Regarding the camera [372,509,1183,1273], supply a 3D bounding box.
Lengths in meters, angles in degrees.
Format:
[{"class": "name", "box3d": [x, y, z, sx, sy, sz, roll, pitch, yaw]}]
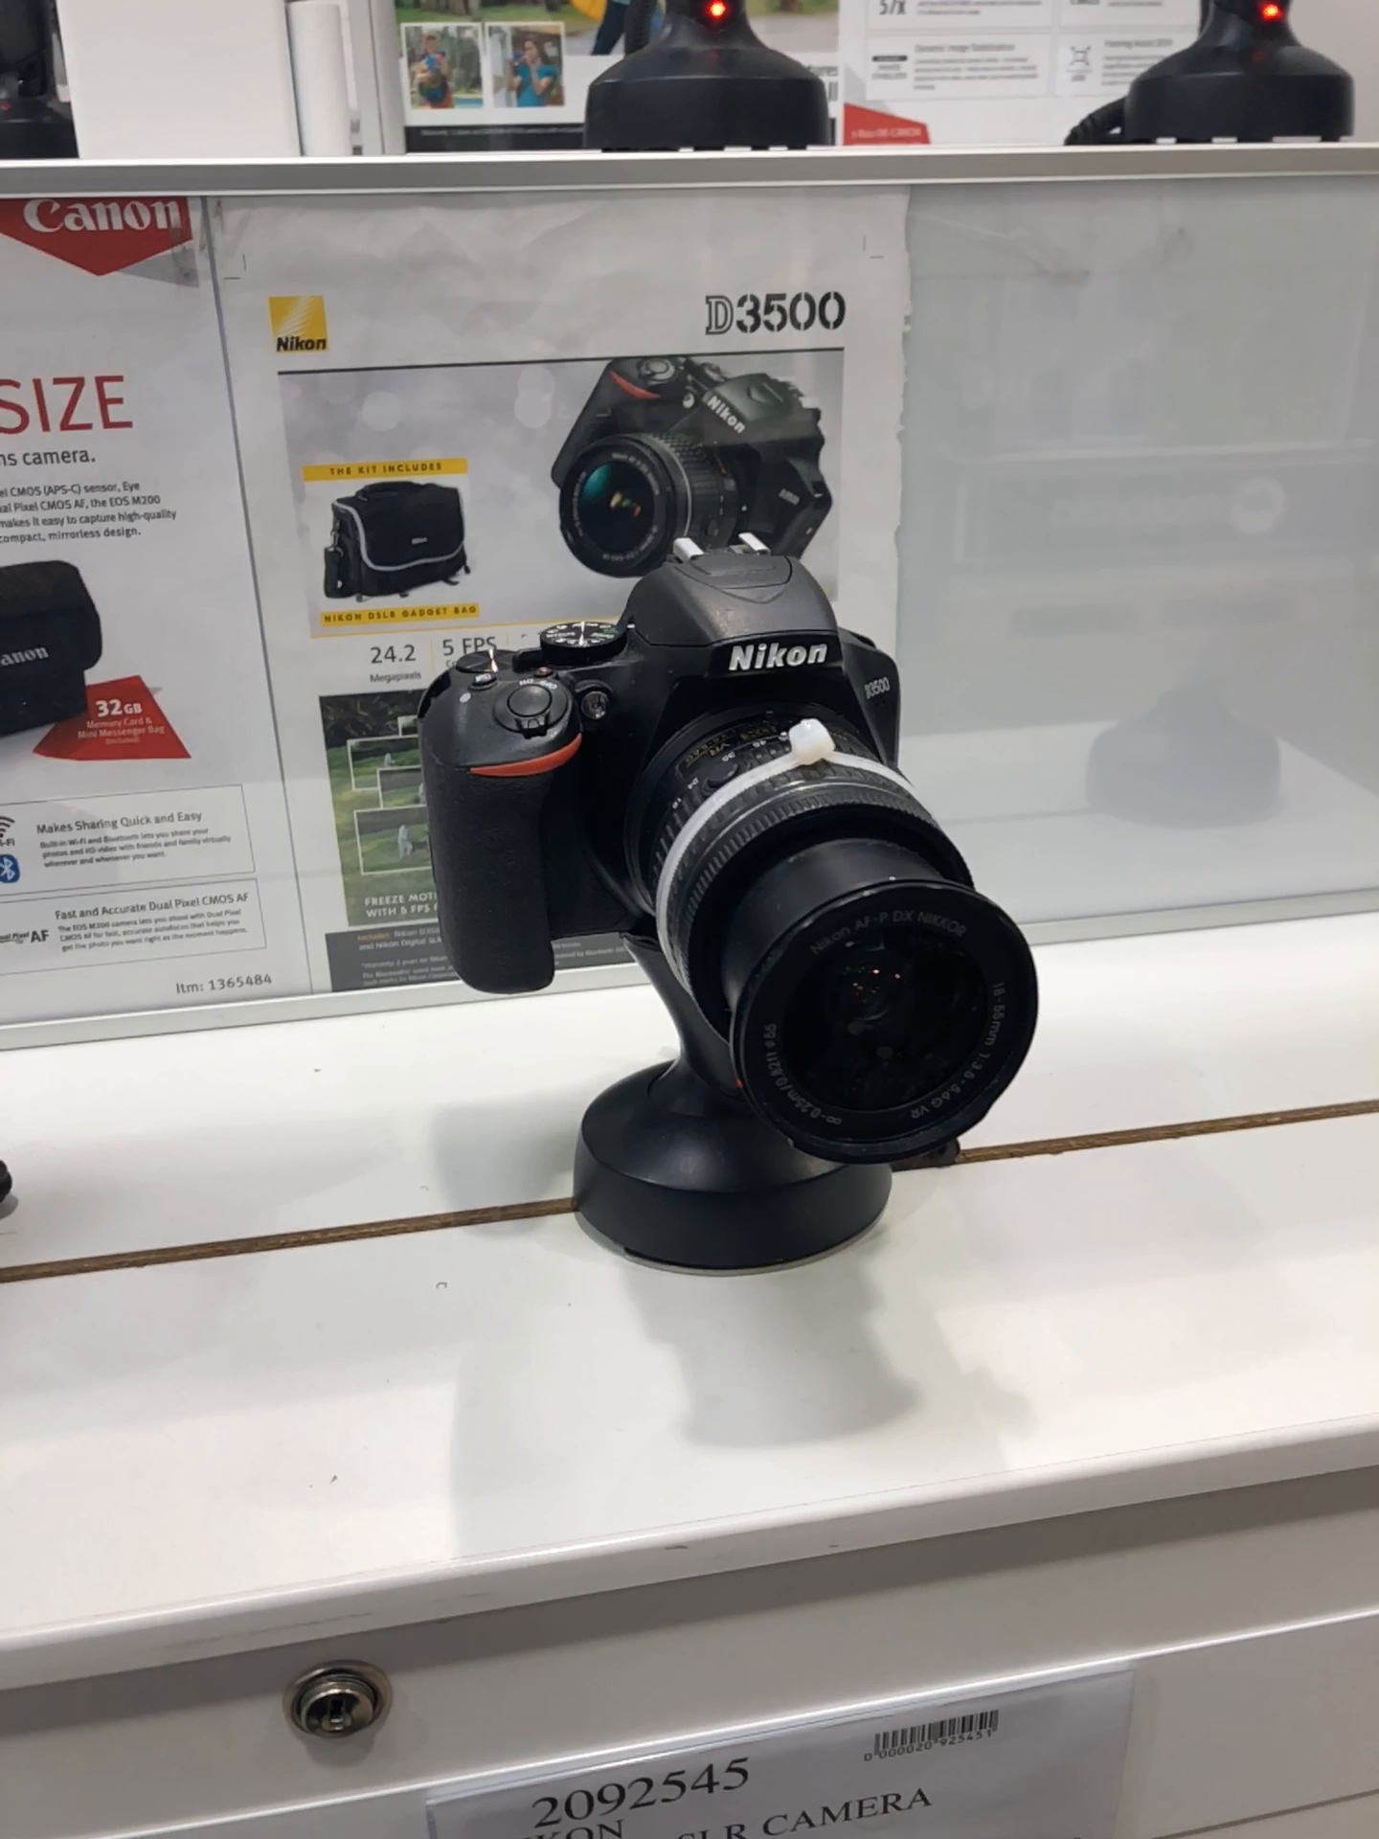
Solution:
[{"class": "camera", "box3d": [0.003, -0.026, 0.381, 0.140, 0.110, 0.191, -7, 25, -12]}]
